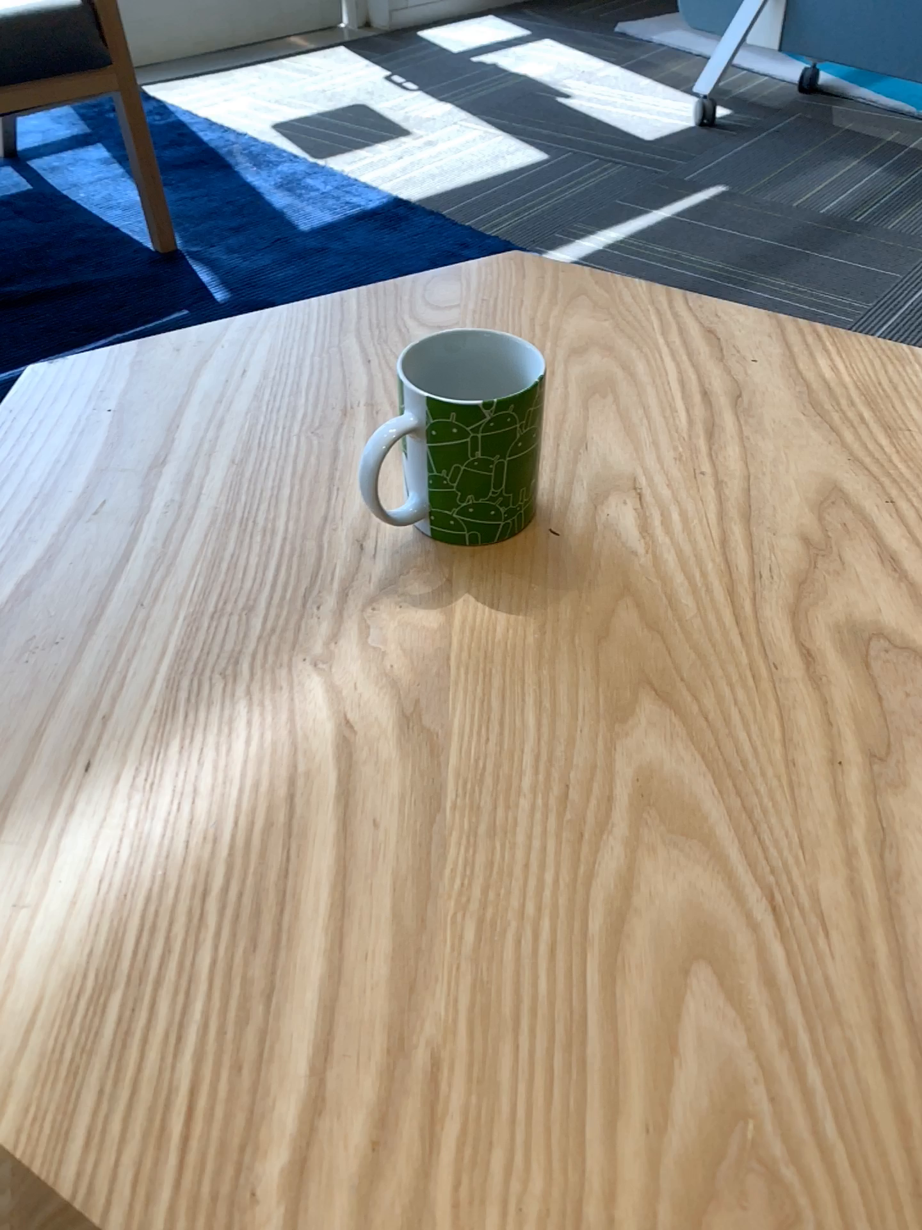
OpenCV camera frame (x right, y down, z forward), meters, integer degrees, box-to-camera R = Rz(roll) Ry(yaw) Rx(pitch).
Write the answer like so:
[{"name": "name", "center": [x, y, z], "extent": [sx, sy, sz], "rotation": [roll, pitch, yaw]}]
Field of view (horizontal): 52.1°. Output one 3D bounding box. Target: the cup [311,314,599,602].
[{"name": "cup", "center": [-0.003, -0.090, 0.522], "extent": [0.120, 0.090, 0.090], "rotation": [-30, 51, -27]}]
